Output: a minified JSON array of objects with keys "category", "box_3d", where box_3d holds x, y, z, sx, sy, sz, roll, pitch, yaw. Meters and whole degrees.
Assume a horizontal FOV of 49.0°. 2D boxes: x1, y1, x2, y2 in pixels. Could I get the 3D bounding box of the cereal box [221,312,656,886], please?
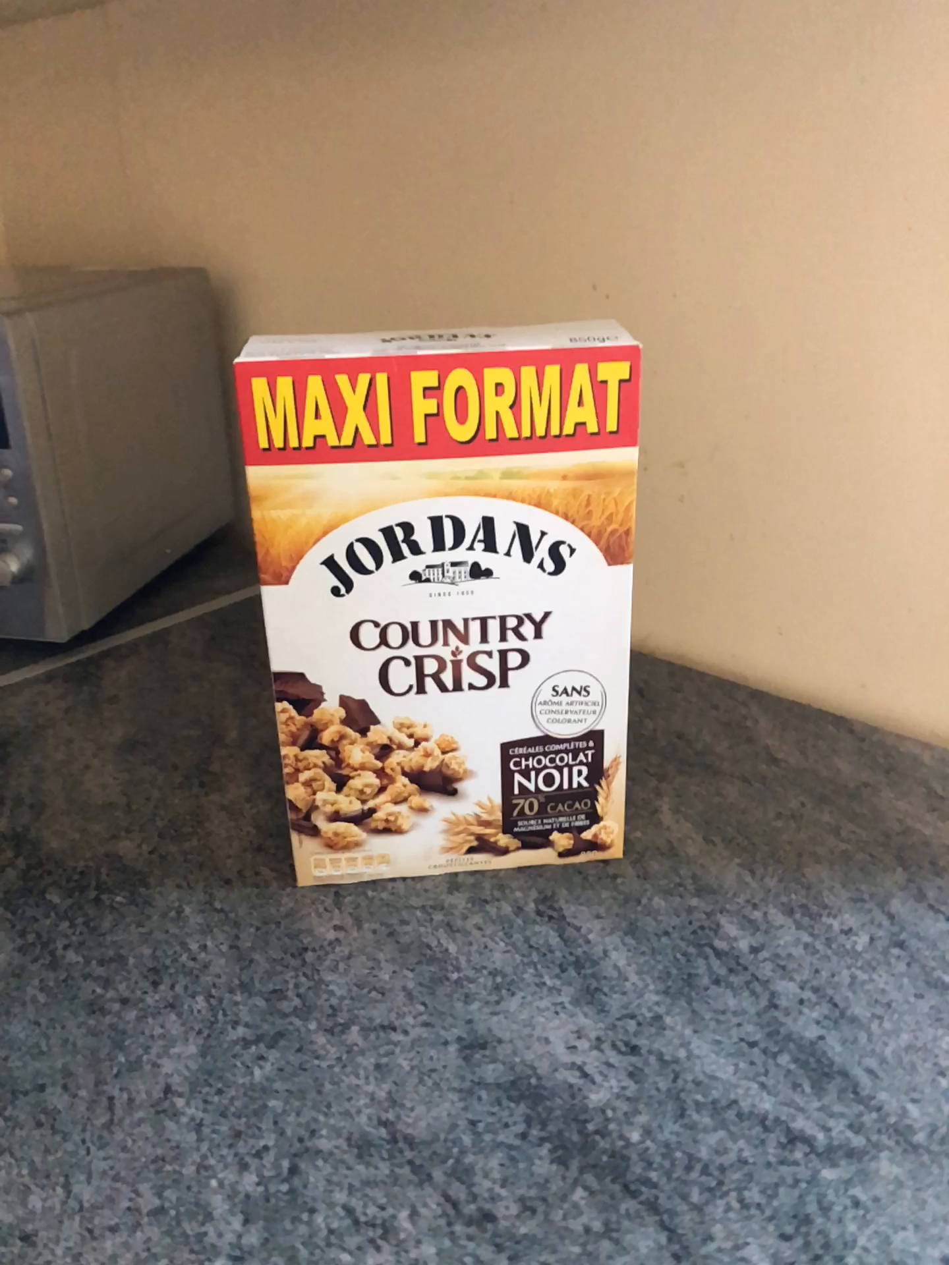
[{"category":"cereal box","box_3d":[-0.013,-0.012,0.573,0.200,0.298,0.070,-4,25,-4]}]
